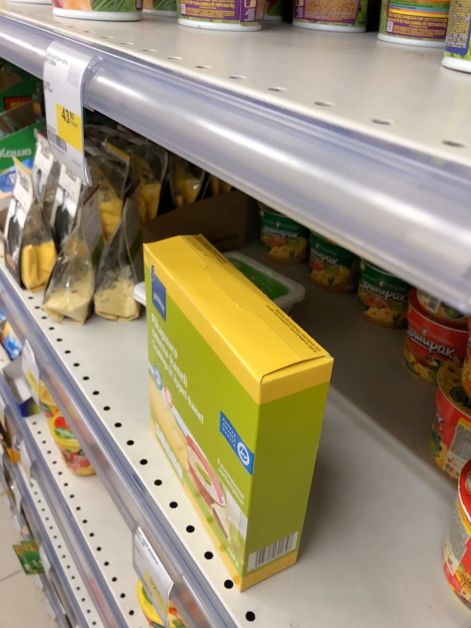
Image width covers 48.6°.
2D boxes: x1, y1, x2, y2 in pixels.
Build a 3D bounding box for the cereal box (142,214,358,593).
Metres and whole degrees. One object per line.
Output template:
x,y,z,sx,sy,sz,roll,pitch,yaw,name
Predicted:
-0.007,0.054,0.362,0.050,0.189,0.171,-14,37,-26,cereal box
